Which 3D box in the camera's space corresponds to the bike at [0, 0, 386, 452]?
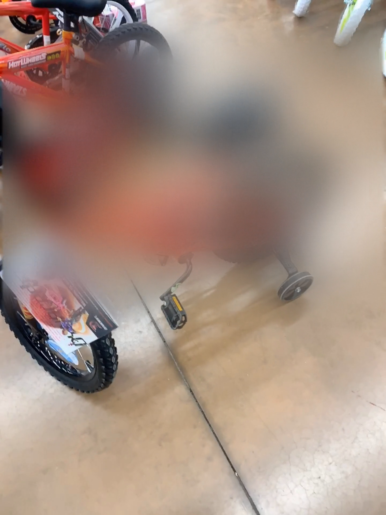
[{"bbox_3d":[0.017,-0.103,0.963,0.741,0.824,0.511,-38,60,-14],"label":"bike"}]
